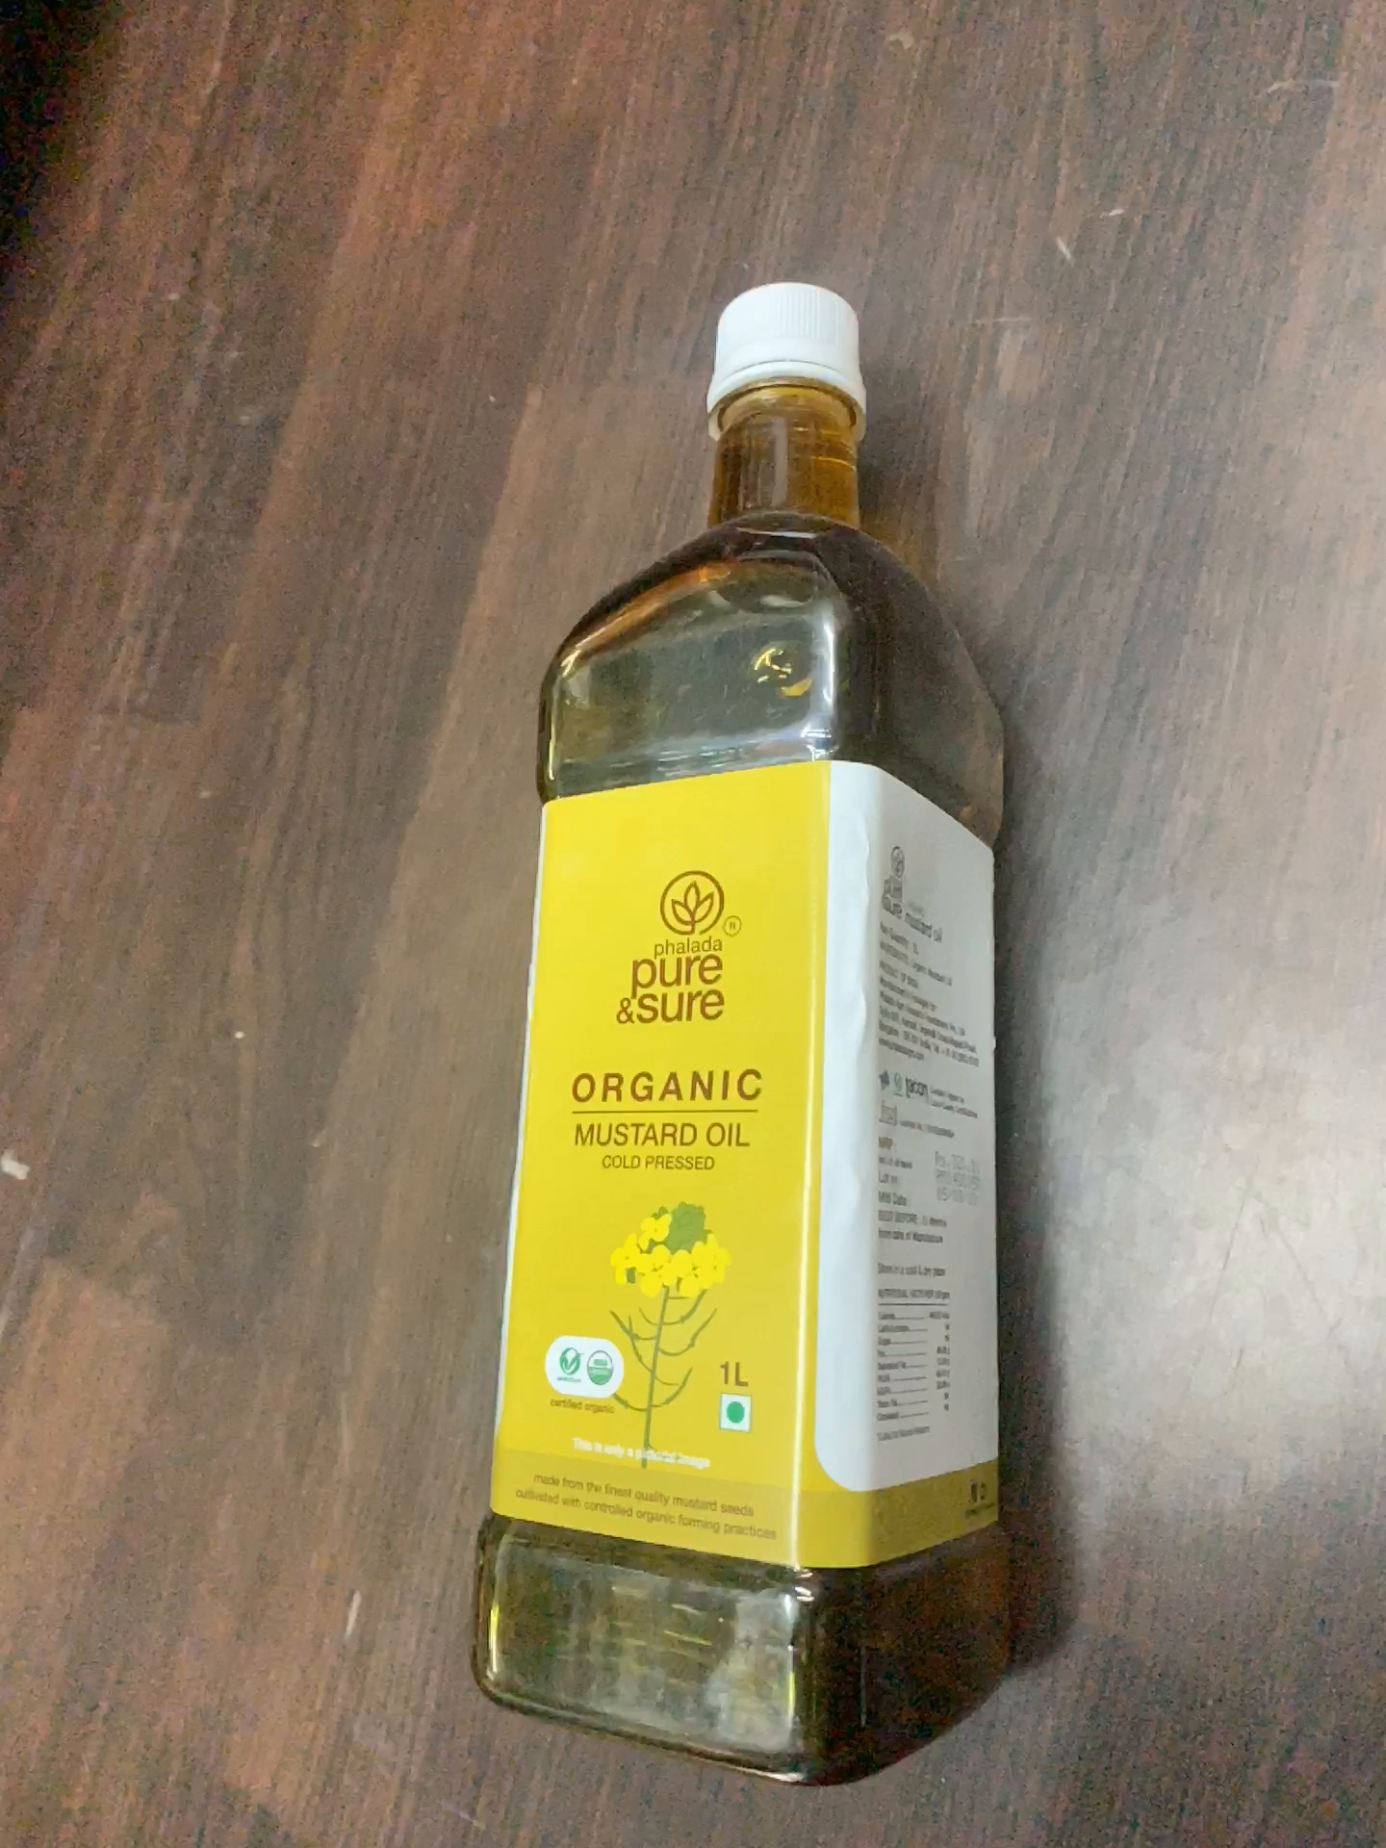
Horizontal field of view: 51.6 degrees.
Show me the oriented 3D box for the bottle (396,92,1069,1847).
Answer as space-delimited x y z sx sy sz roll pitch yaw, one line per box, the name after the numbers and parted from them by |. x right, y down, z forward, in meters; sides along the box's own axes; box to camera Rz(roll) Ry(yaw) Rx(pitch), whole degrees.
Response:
0.017 0.003 0.265 0.080 0.080 0.270 -4 75 31 | bottle
